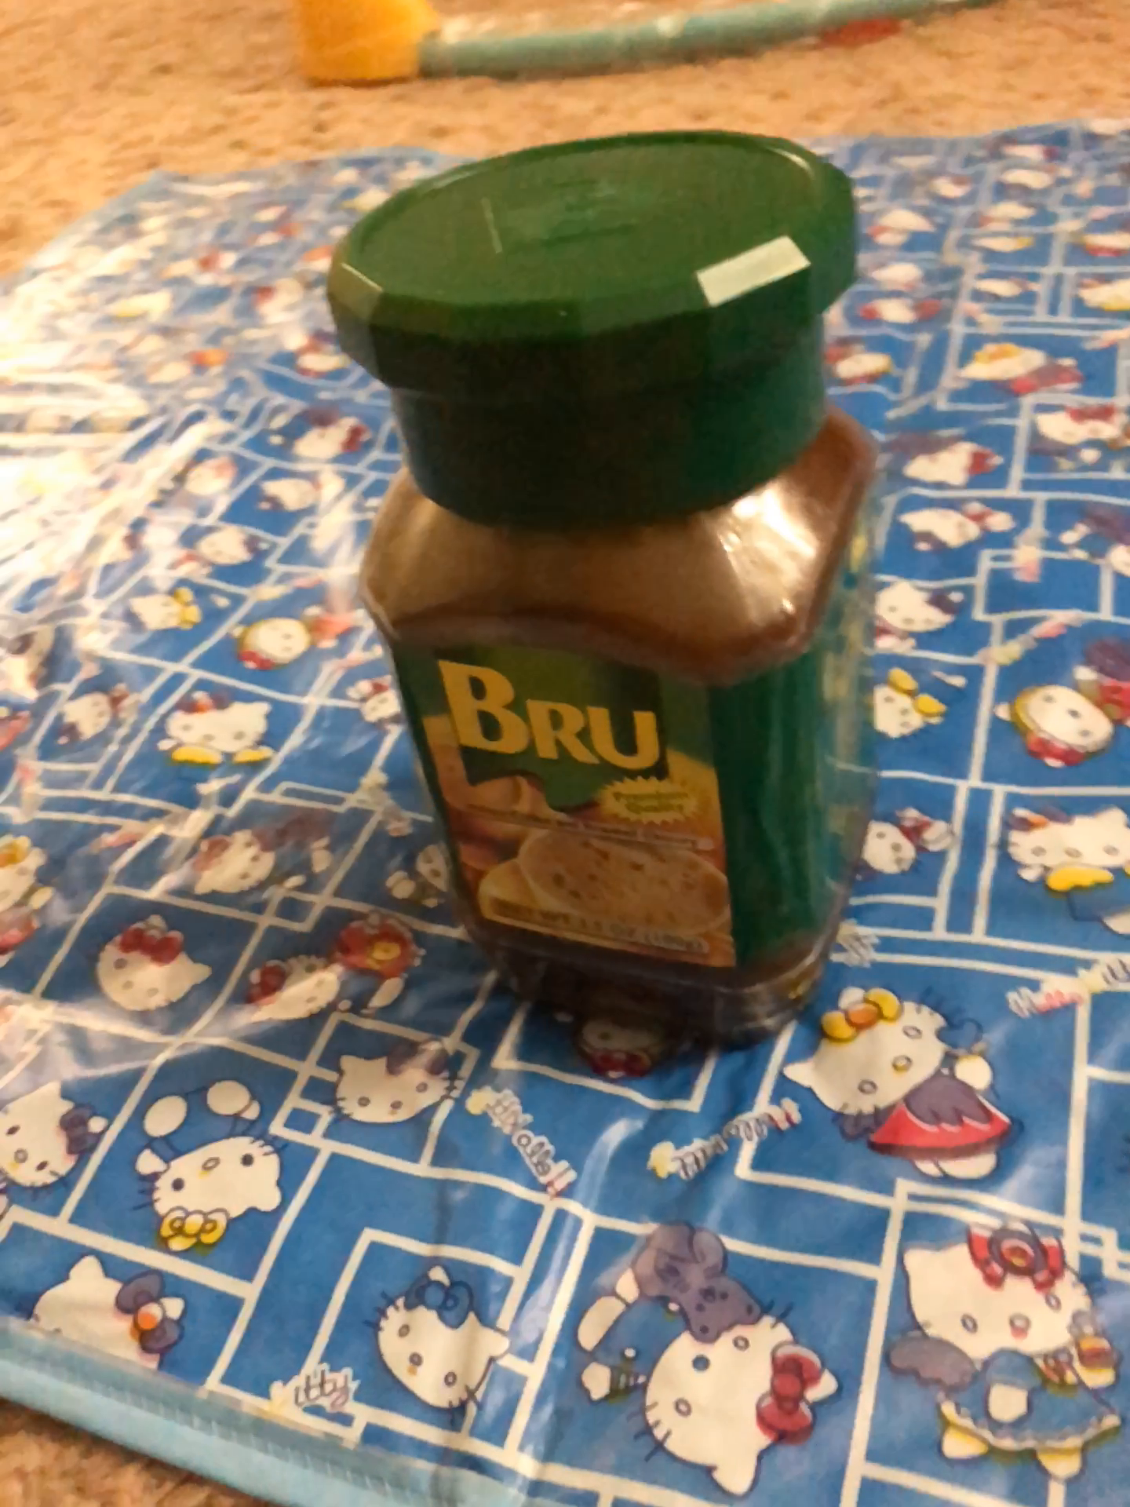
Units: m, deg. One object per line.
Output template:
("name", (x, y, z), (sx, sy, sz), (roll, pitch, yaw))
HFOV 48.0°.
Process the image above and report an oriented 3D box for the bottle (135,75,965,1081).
("bottle", (0.010, -0.024, 0.191), (0.080, 0.120, 0.070), (9, 44, 22))
